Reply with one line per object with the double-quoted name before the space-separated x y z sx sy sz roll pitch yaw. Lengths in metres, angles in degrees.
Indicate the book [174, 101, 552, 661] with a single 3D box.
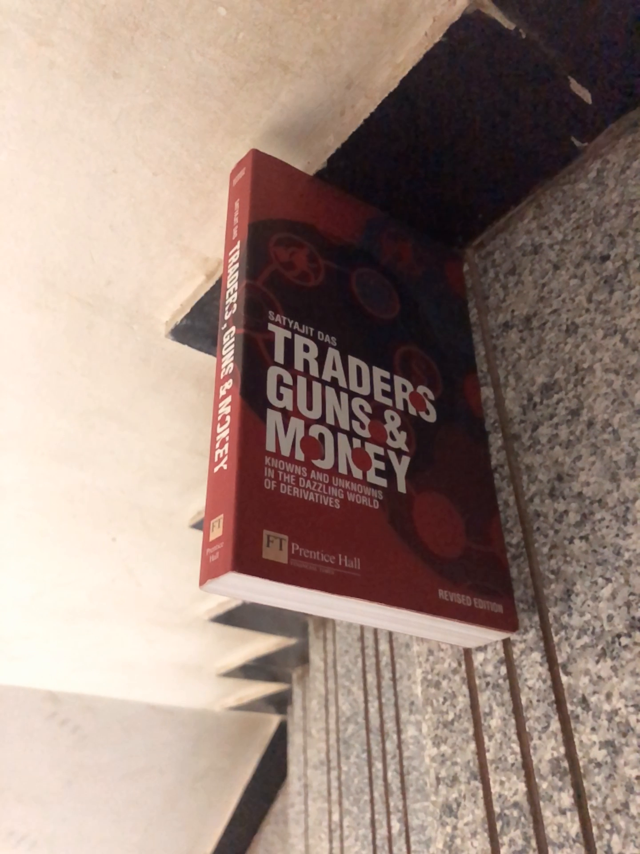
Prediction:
"book" 0.021 -0.026 0.320 0.030 0.149 0.230 -38 43 44
